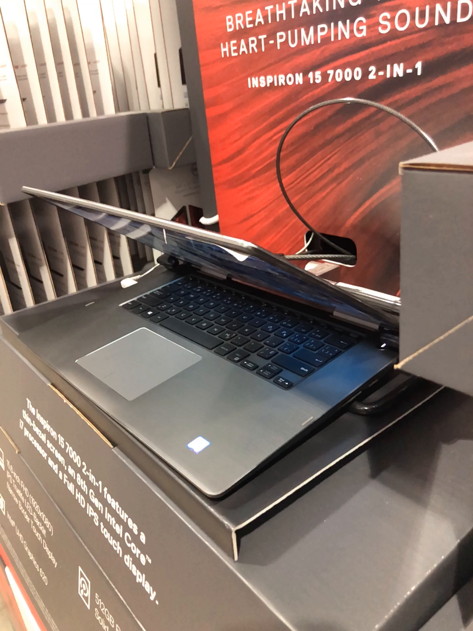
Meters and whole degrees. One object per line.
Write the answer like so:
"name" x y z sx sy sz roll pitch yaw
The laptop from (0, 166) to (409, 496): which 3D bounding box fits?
"laptop" -0.055 -0.036 0.495 0.212 0.137 0.357 -26 31 -33
